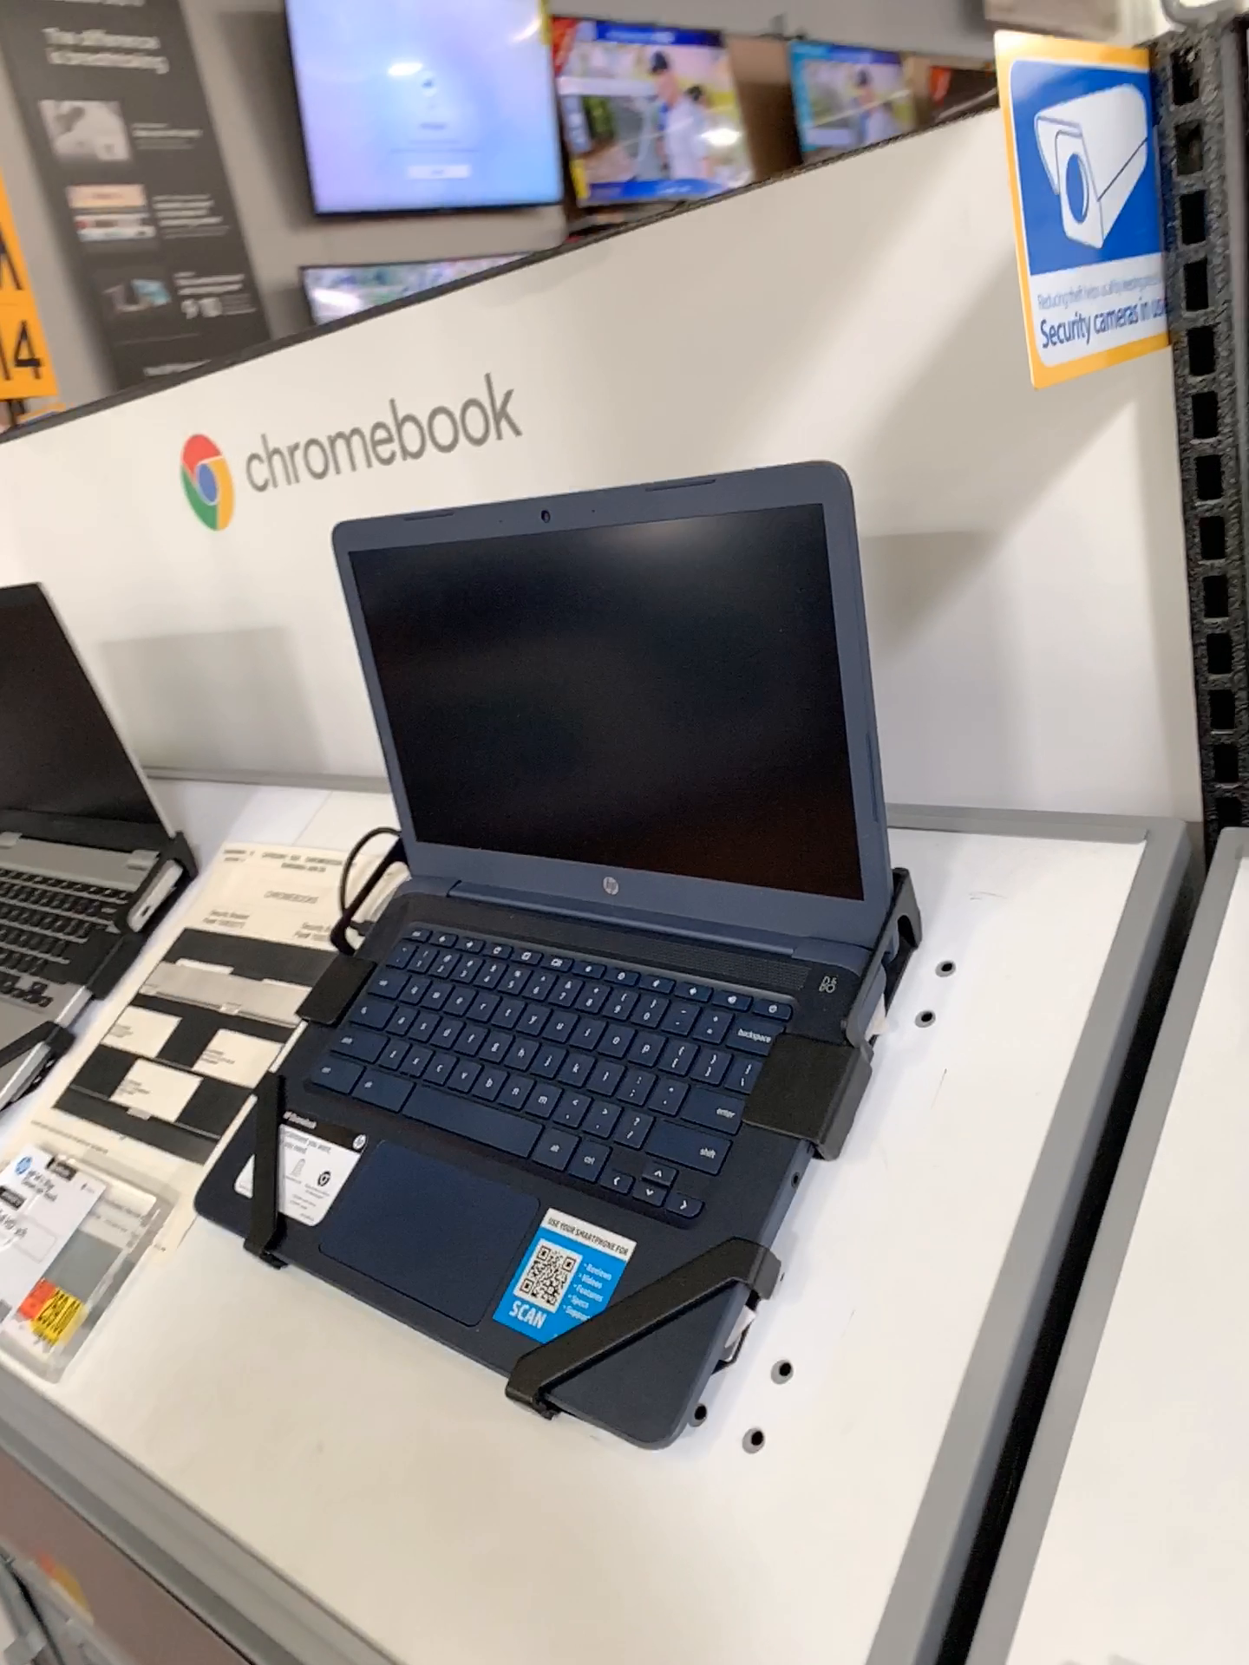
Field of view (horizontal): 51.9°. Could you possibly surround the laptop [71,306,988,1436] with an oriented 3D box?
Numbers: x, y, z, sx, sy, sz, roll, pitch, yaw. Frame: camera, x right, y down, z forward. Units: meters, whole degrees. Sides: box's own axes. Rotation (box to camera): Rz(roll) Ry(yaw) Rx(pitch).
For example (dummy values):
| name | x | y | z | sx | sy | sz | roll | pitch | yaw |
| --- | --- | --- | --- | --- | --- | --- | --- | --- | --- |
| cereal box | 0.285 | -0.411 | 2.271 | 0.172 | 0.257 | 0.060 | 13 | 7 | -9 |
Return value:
| name | x | y | z | sx | sy | sz | roll | pitch | yaw |
| --- | --- | --- | --- | --- | --- | --- | --- | --- | --- |
| laptop | -0.047 | -0.012 | 0.608 | 0.318 | 0.189 | 0.323 | 6 | 46 | 42 |
